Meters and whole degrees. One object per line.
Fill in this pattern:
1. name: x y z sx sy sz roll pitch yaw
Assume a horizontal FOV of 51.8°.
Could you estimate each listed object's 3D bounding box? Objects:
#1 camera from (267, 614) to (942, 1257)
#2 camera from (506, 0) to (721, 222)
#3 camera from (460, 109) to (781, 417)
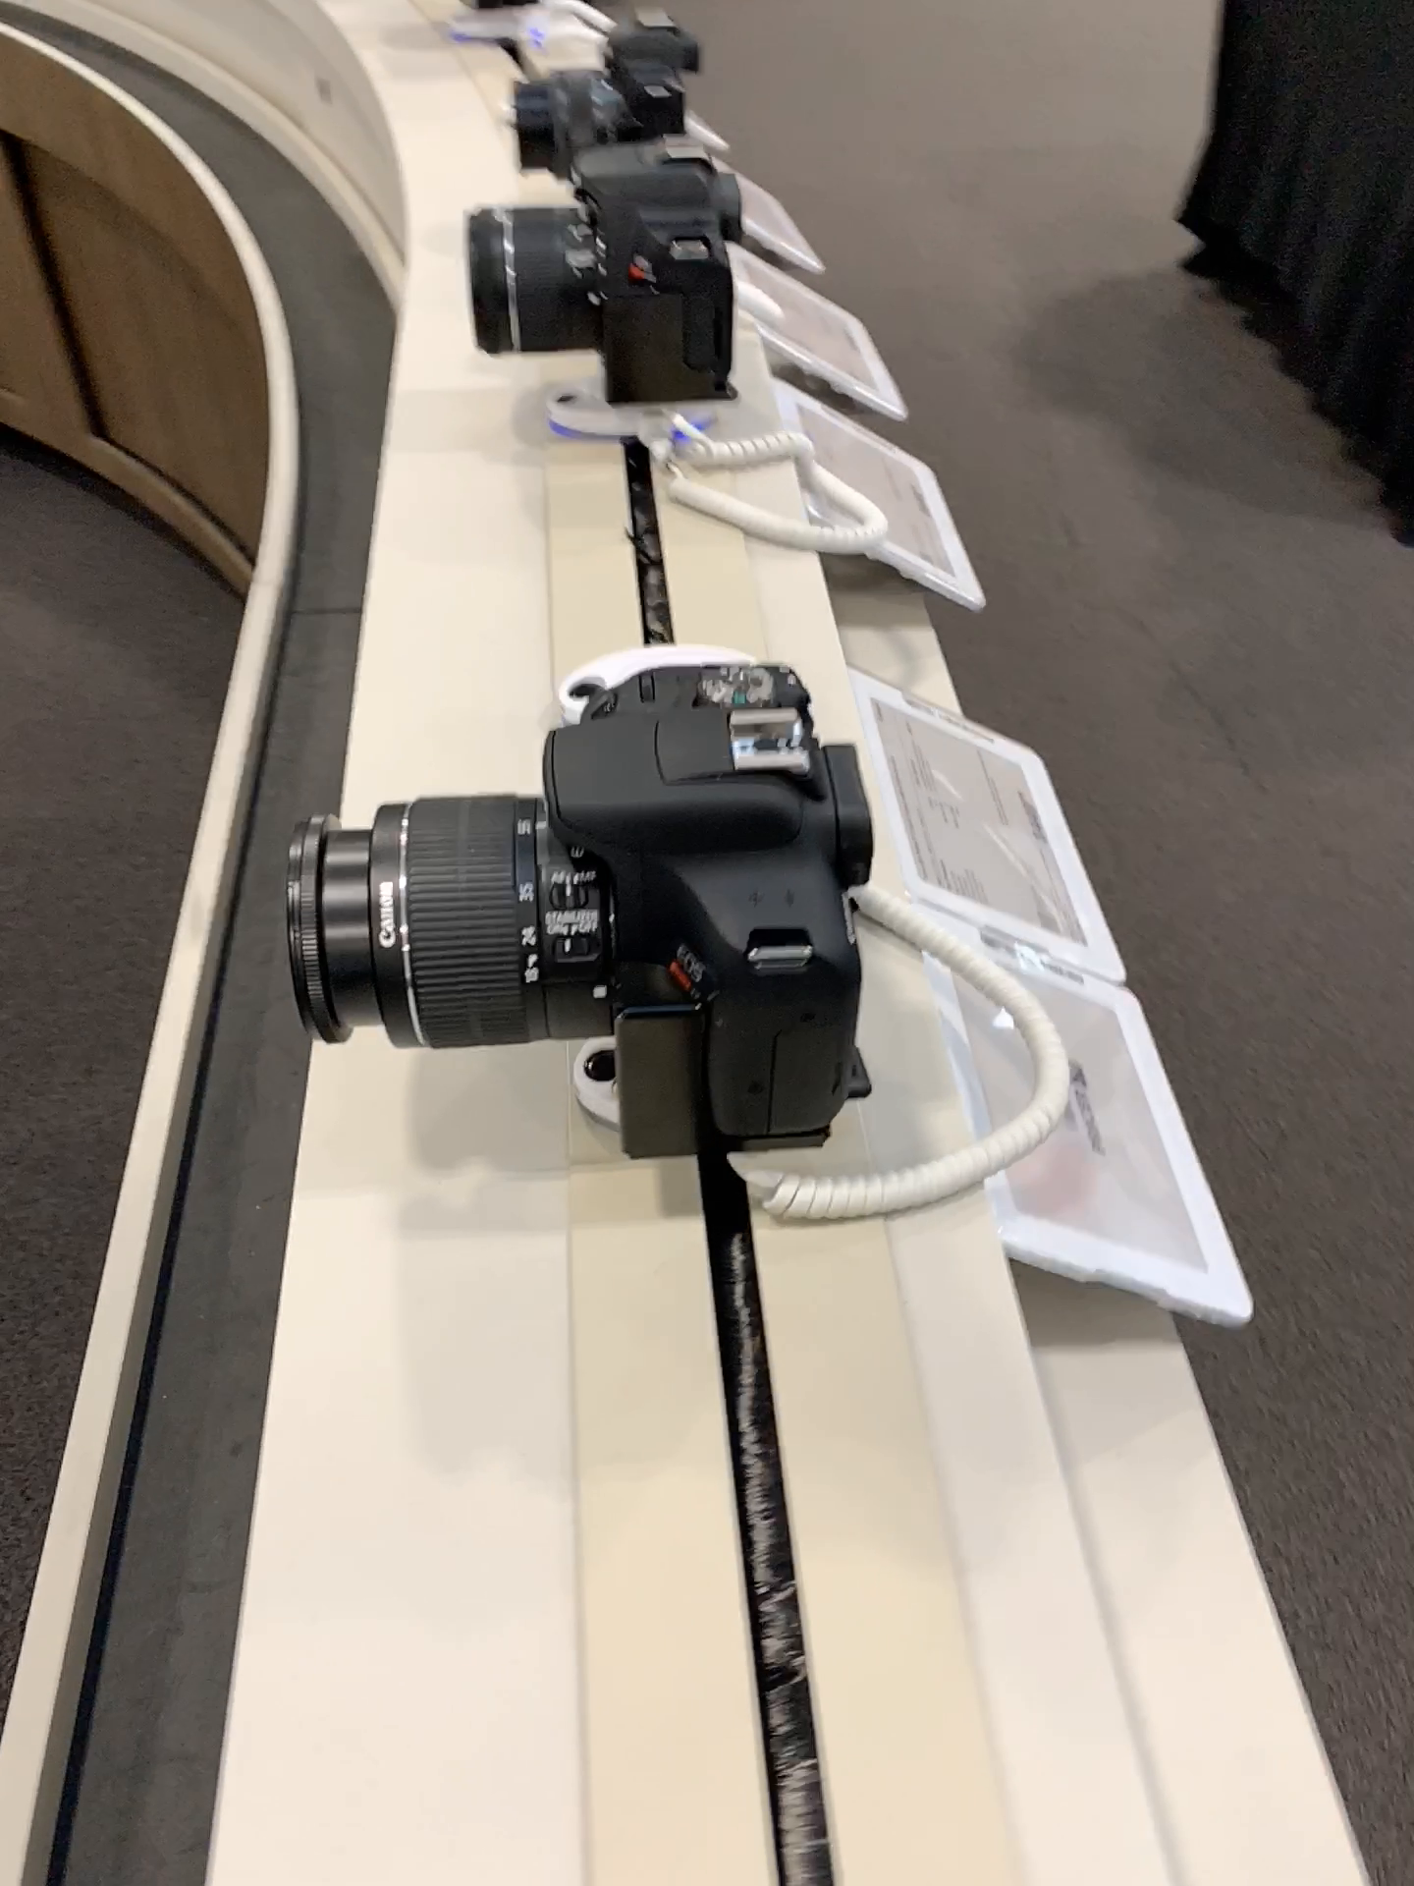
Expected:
1. camera: -0.027 -0.005 0.396 0.145 0.101 0.135 -3 47 -3
2. camera: -0.056 -0.503 0.873 0.111 0.088 0.112 -7 47 -7
3. camera: -0.044 -0.333 0.709 0.135 0.089 0.122 -7 47 -7
